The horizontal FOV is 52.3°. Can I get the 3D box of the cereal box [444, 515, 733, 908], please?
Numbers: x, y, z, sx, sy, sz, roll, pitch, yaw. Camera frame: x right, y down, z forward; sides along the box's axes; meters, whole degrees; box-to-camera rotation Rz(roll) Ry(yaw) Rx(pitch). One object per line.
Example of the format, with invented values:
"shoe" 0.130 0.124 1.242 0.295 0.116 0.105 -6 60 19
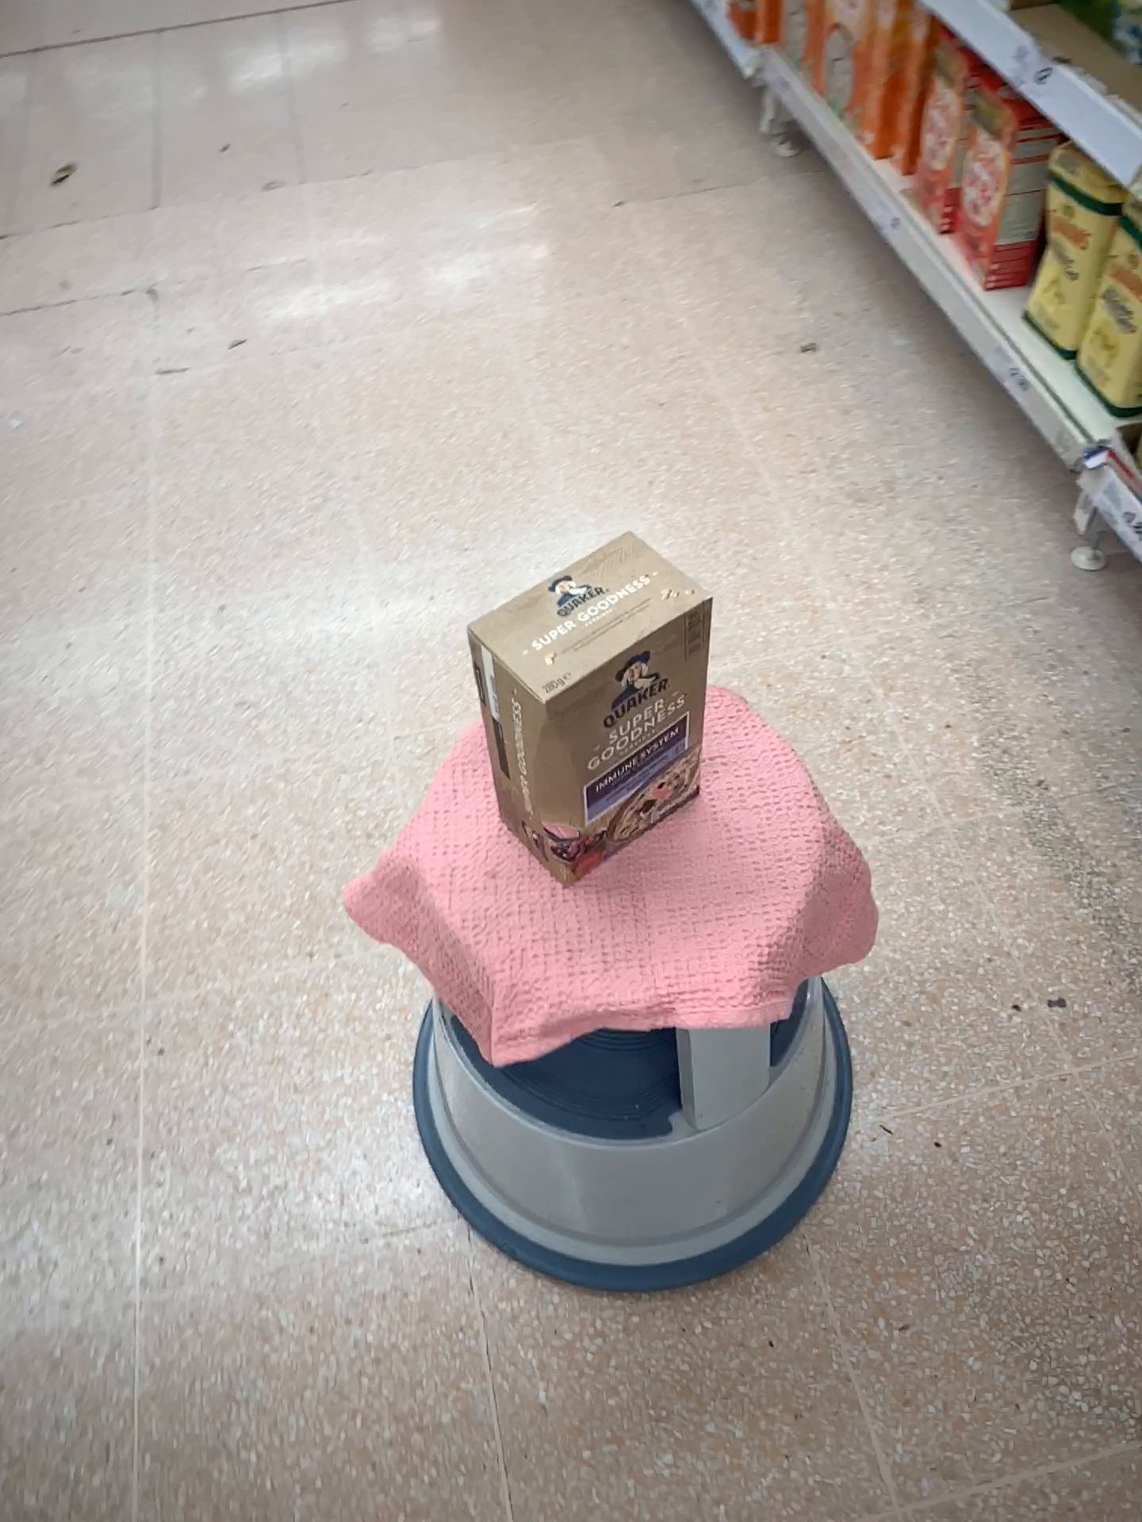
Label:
"cereal box" 0.017 -0.027 0.775 0.140 0.208 0.101 -34 57 -20
